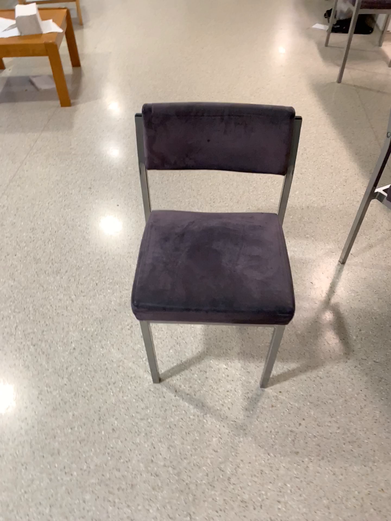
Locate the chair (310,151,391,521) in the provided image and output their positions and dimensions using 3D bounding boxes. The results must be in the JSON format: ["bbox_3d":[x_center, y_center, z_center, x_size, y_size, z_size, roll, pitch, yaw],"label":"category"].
[{"bbox_3d":[0.661,0.368,0.560,0.511,0.614,0.745,-23,51,-17],"label":"chair"}]

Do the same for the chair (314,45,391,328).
[{"bbox_3d":[0.903,-0.279,1.327,0.741,0.615,0.514,-17,42,-15],"label":"chair"}]

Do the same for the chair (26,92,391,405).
[{"bbox_3d":[0.062,-0.053,1.082,0.680,0.505,0.686,1,47,1],"label":"chair"}]
